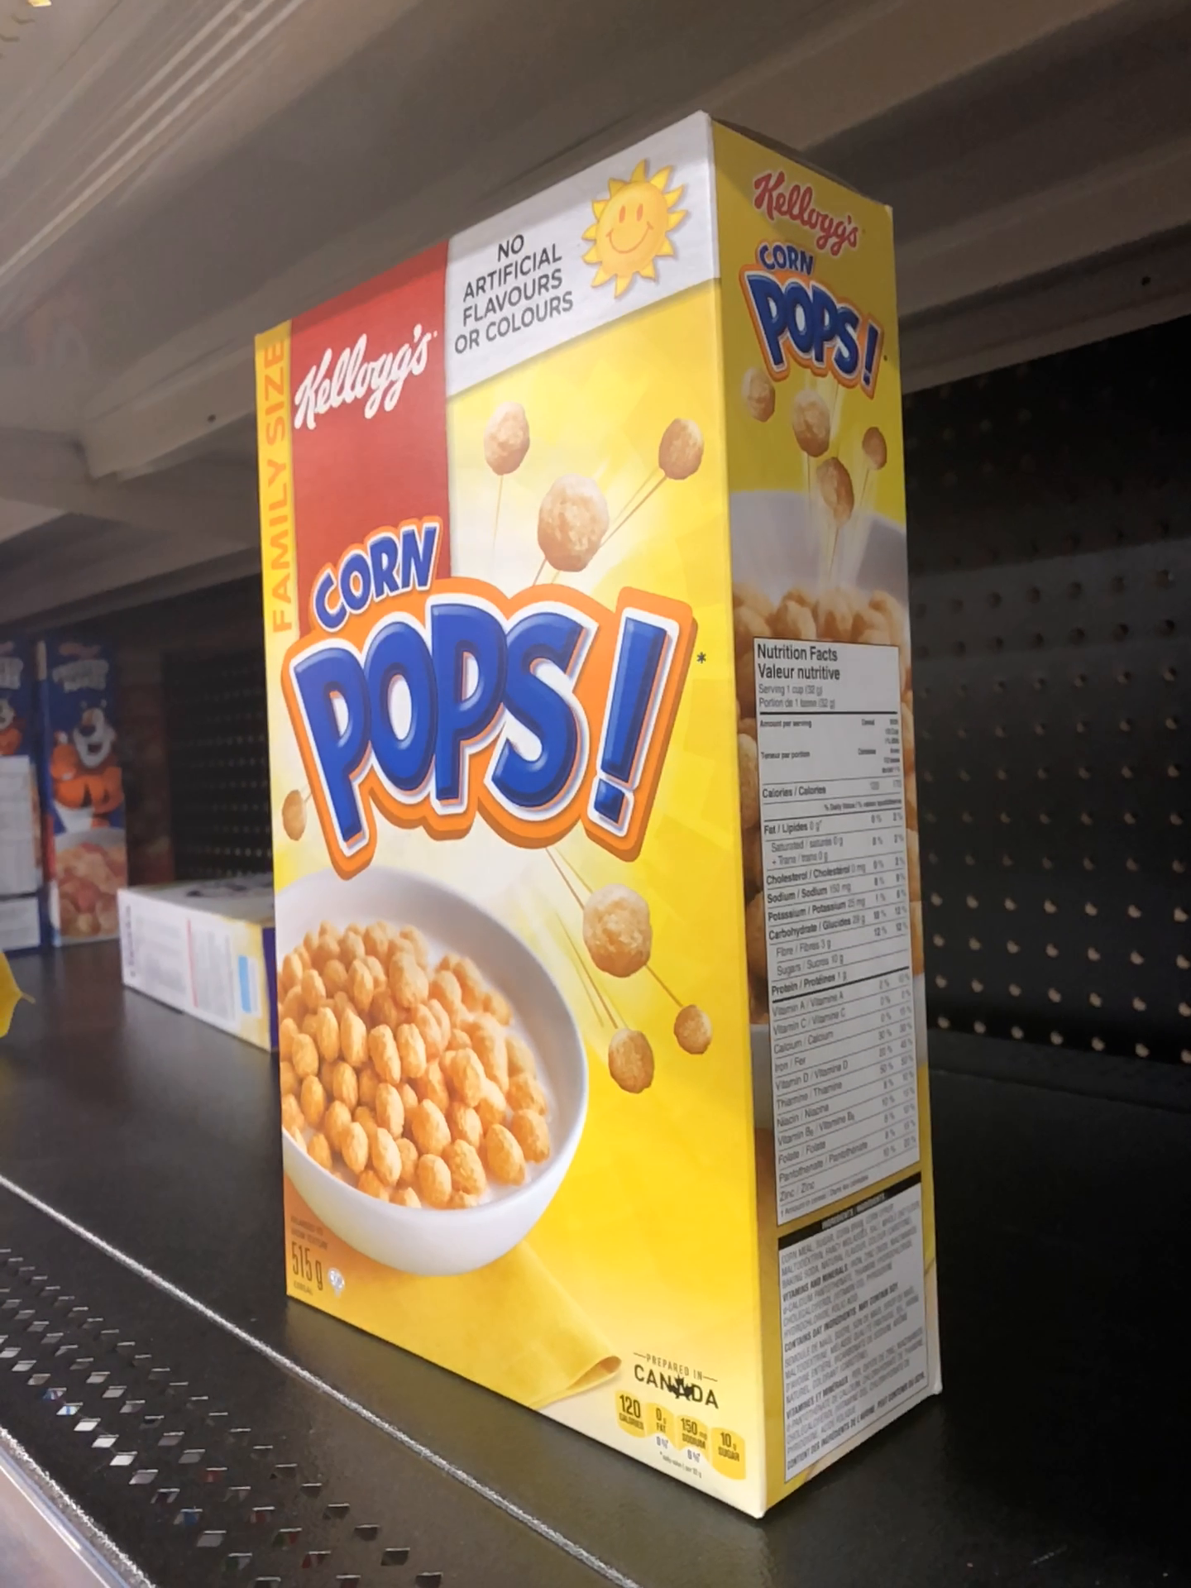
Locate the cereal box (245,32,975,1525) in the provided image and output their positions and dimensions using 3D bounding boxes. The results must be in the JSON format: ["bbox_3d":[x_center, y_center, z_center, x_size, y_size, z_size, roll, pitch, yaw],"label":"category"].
[{"bbox_3d":[-0.007,-0.004,0.384,0.200,0.320,0.090,-1,0,45],"label":"cereal box"}]
